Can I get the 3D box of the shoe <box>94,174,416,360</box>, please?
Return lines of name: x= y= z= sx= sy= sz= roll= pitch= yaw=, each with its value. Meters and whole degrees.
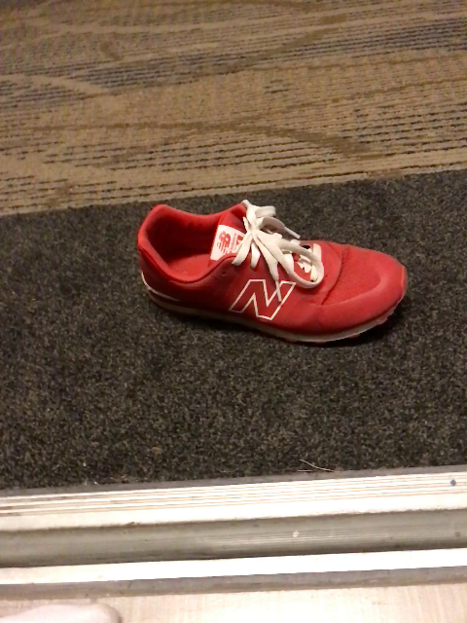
shoe: x=0.024 y=-0.045 z=0.470 sx=0.256 sy=0.107 sz=0.101 roll=7 pitch=52 yaw=14
